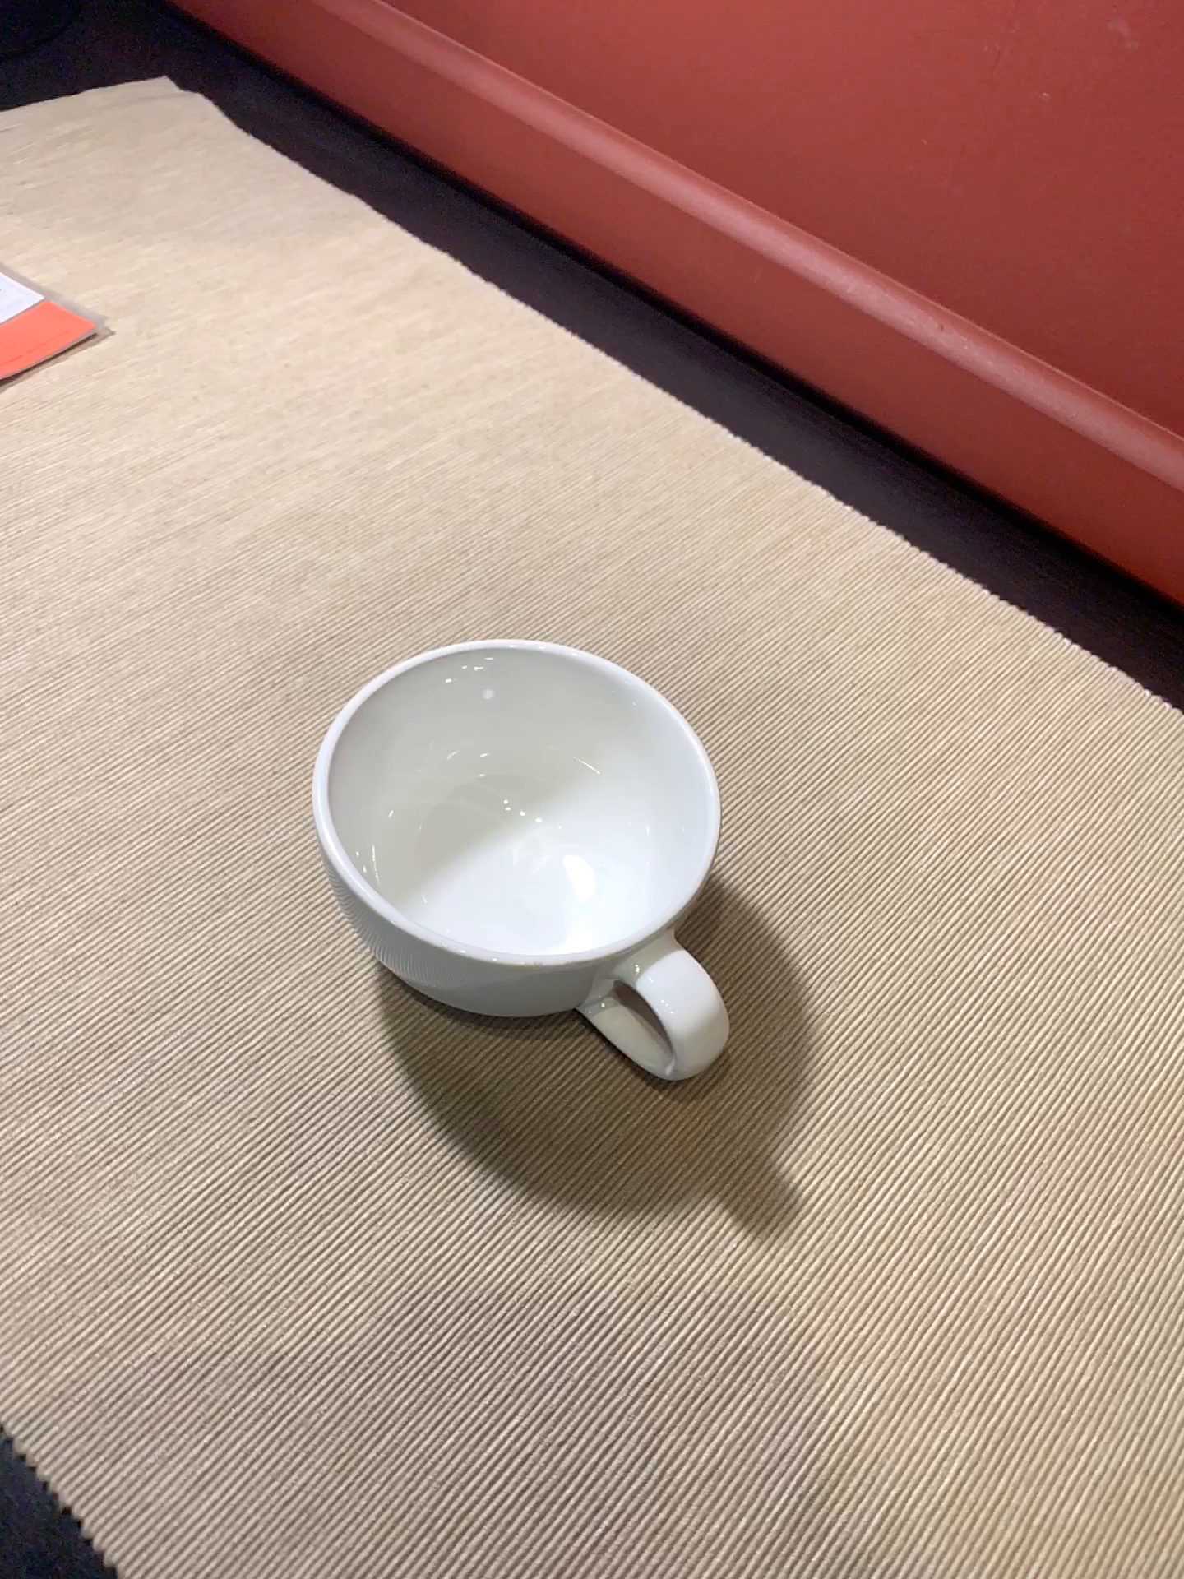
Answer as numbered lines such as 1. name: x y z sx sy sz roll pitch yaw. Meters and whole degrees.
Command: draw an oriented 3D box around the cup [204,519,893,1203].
1. cup: -0.013 0.010 0.269 0.090 0.060 0.110 -30 61 -28
